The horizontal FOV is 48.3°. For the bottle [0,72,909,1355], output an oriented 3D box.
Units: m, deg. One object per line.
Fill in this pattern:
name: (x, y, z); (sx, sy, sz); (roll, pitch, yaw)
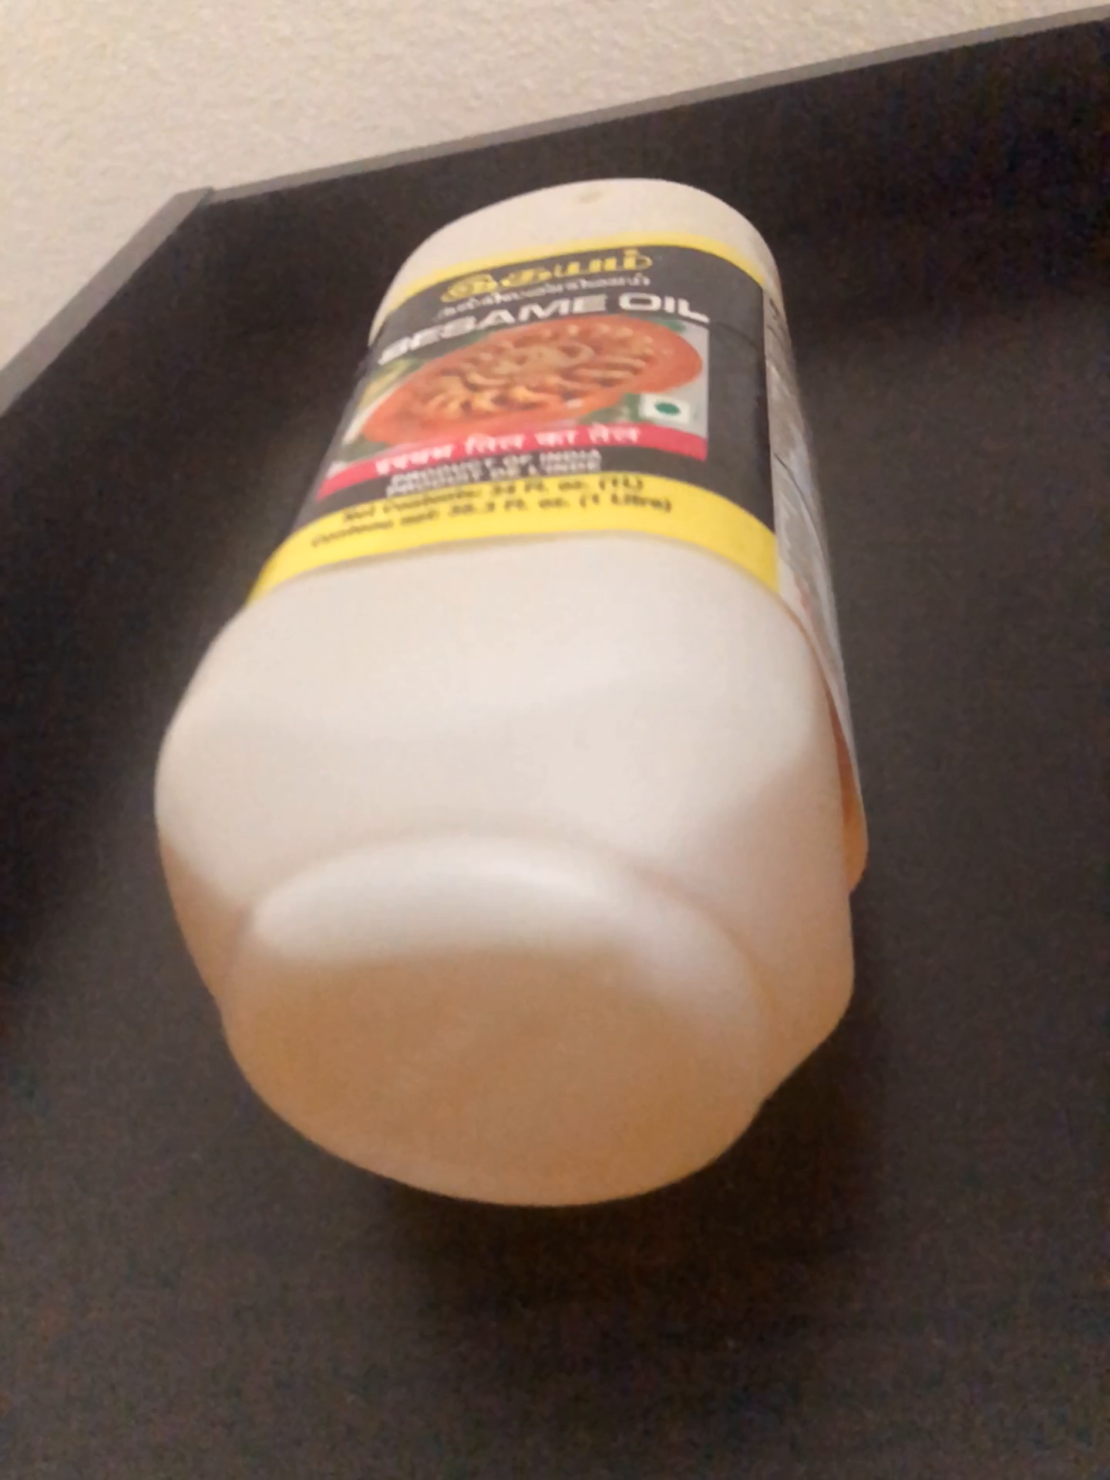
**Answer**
bottle: (0.004, -0.035, 0.230); (0.090, 0.090, 0.251); (-6, 40, 13)
